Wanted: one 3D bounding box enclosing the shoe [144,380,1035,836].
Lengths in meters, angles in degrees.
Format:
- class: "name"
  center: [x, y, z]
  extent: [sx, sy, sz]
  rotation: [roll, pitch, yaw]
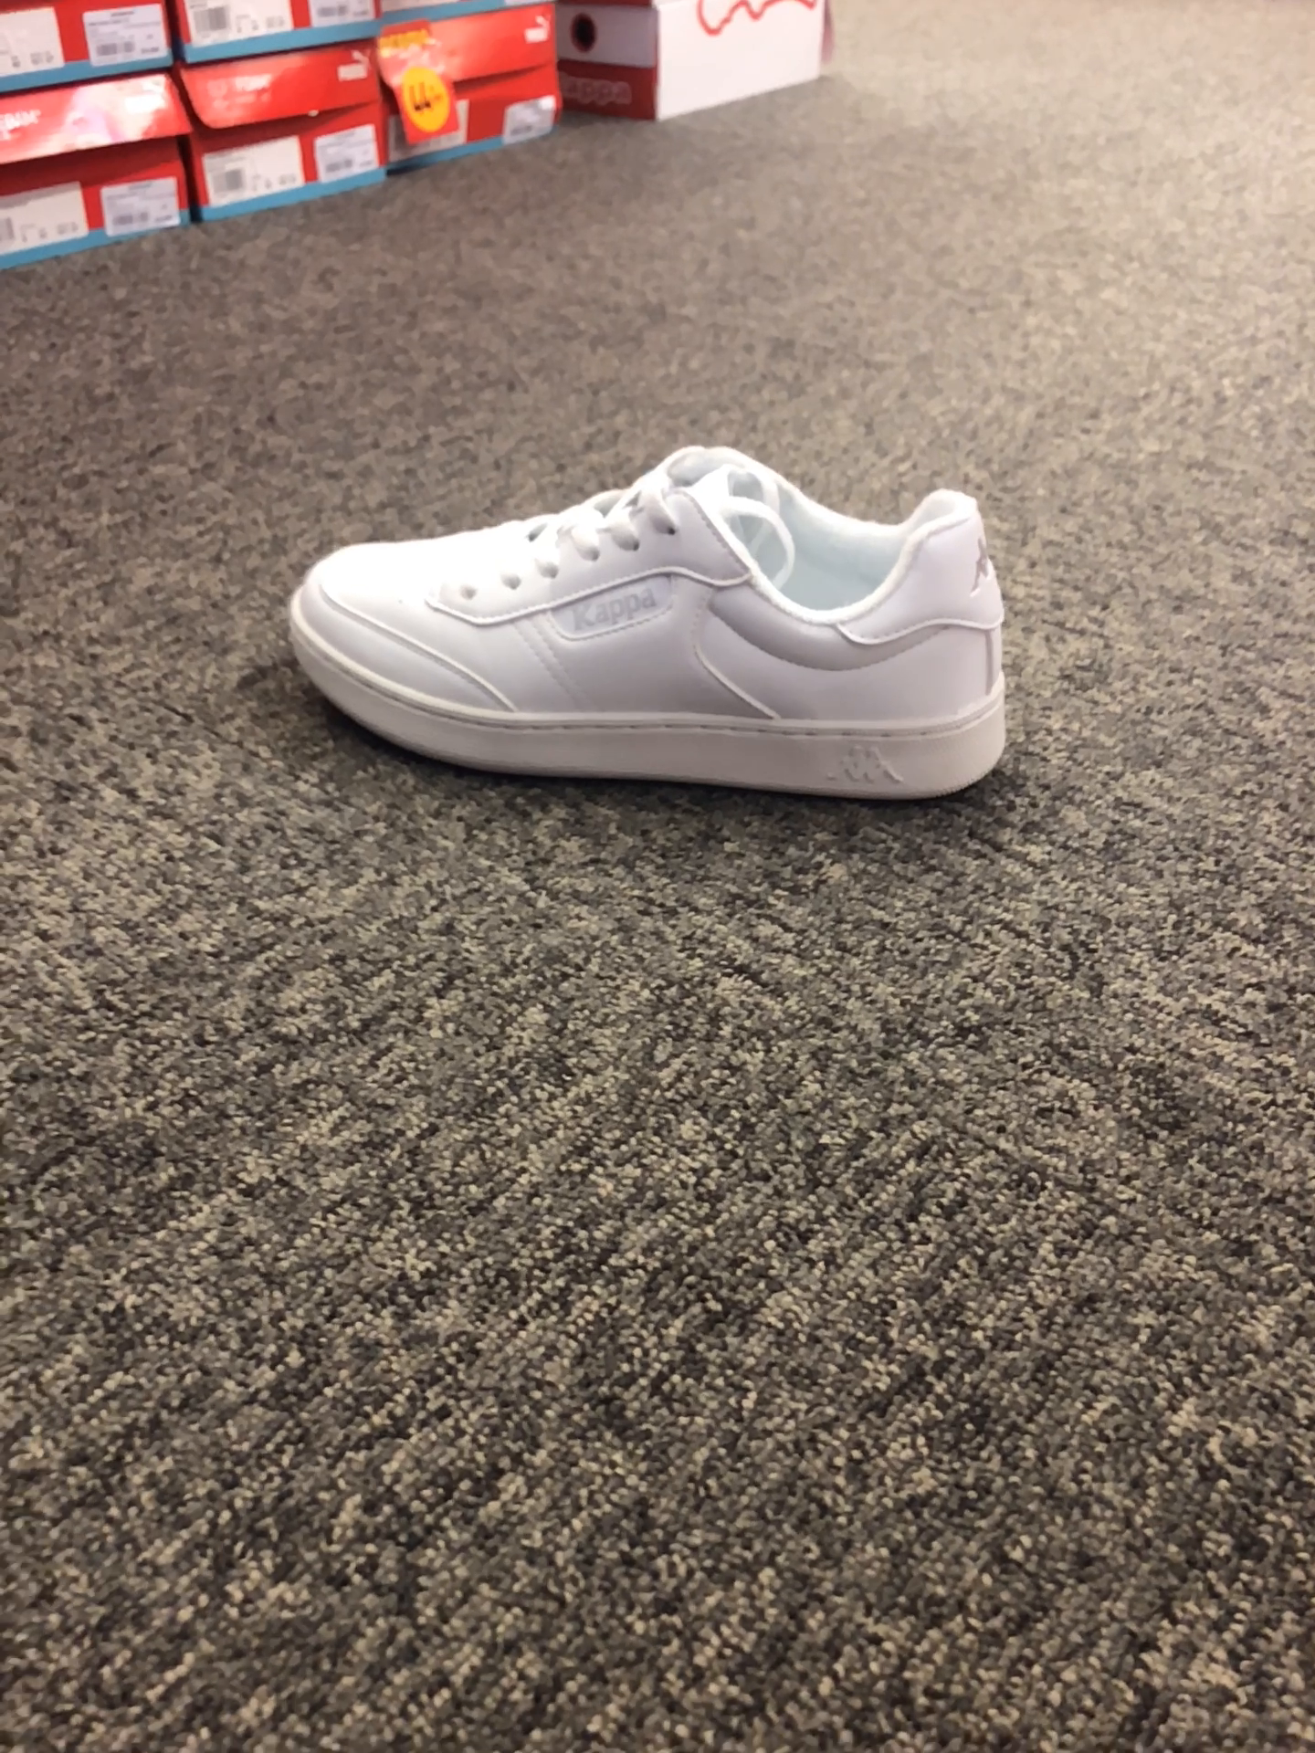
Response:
- class: "shoe"
  center: [-0.018, -0.096, 0.481]
  extent: [0.260, 0.089, 0.101]
  rotation: [9, 38, 15]
